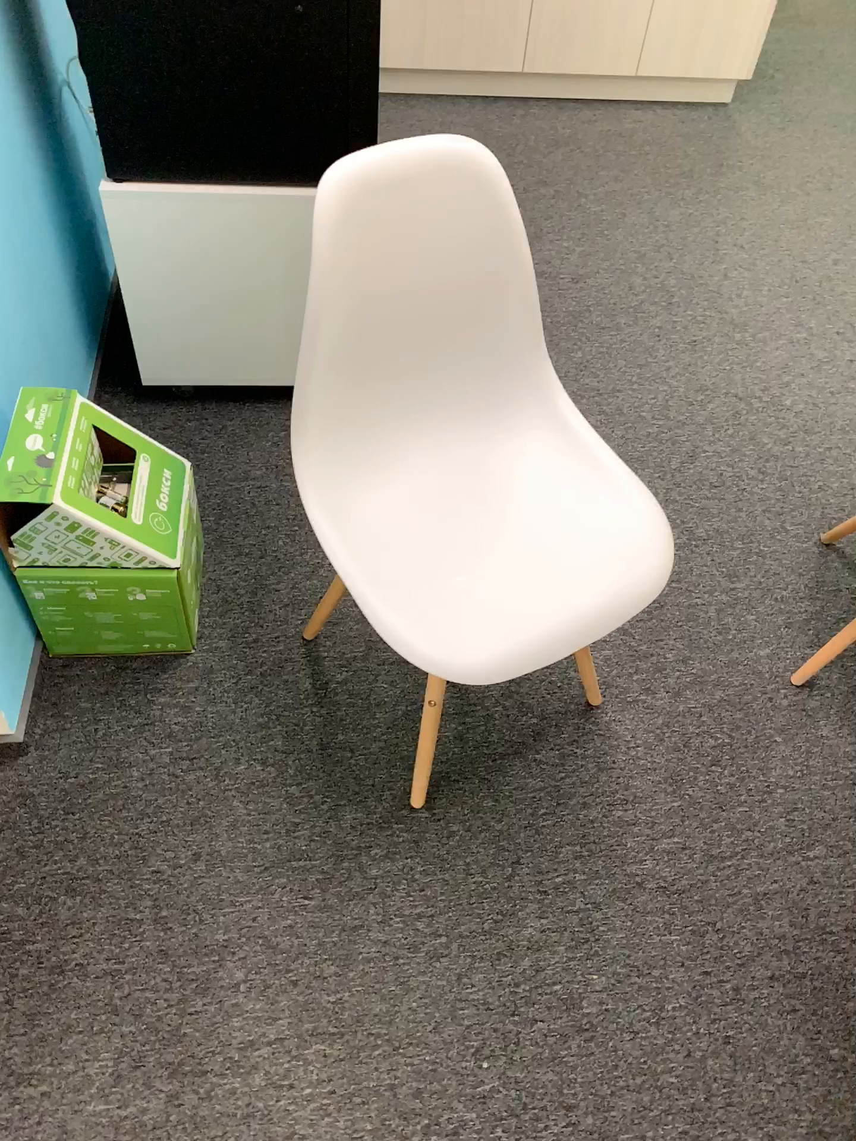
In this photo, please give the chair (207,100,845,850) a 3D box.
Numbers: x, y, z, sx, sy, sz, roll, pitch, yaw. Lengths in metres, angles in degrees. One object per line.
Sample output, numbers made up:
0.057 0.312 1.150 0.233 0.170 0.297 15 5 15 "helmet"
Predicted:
0.057 -0.090 1.218 0.461 0.816 0.501 -24 57 -23 "chair"
